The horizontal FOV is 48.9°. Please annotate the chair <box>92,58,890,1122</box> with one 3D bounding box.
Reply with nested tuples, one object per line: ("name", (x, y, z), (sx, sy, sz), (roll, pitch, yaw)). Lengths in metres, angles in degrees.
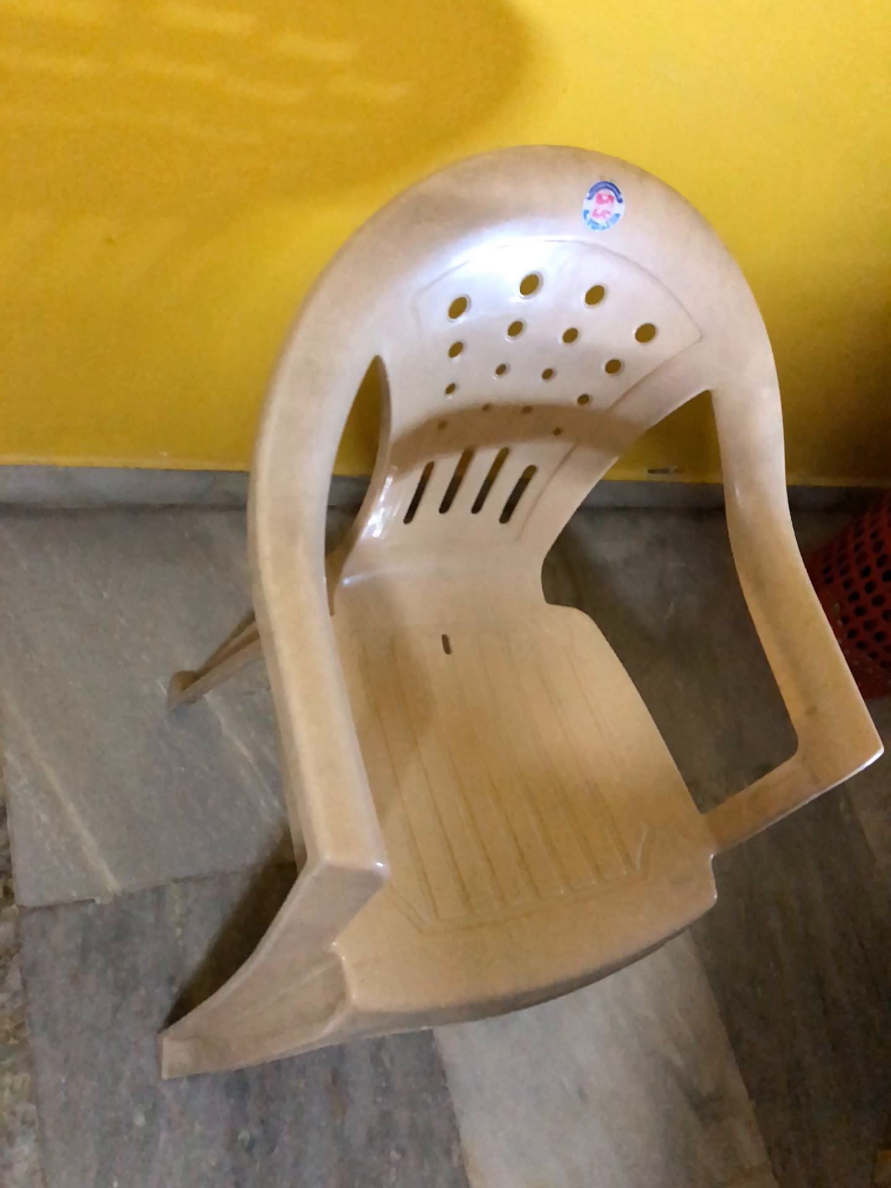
("chair", (0.051, 0.093, 0.929), (0.533, 0.784, 0.561), (-3, 65, -32))
